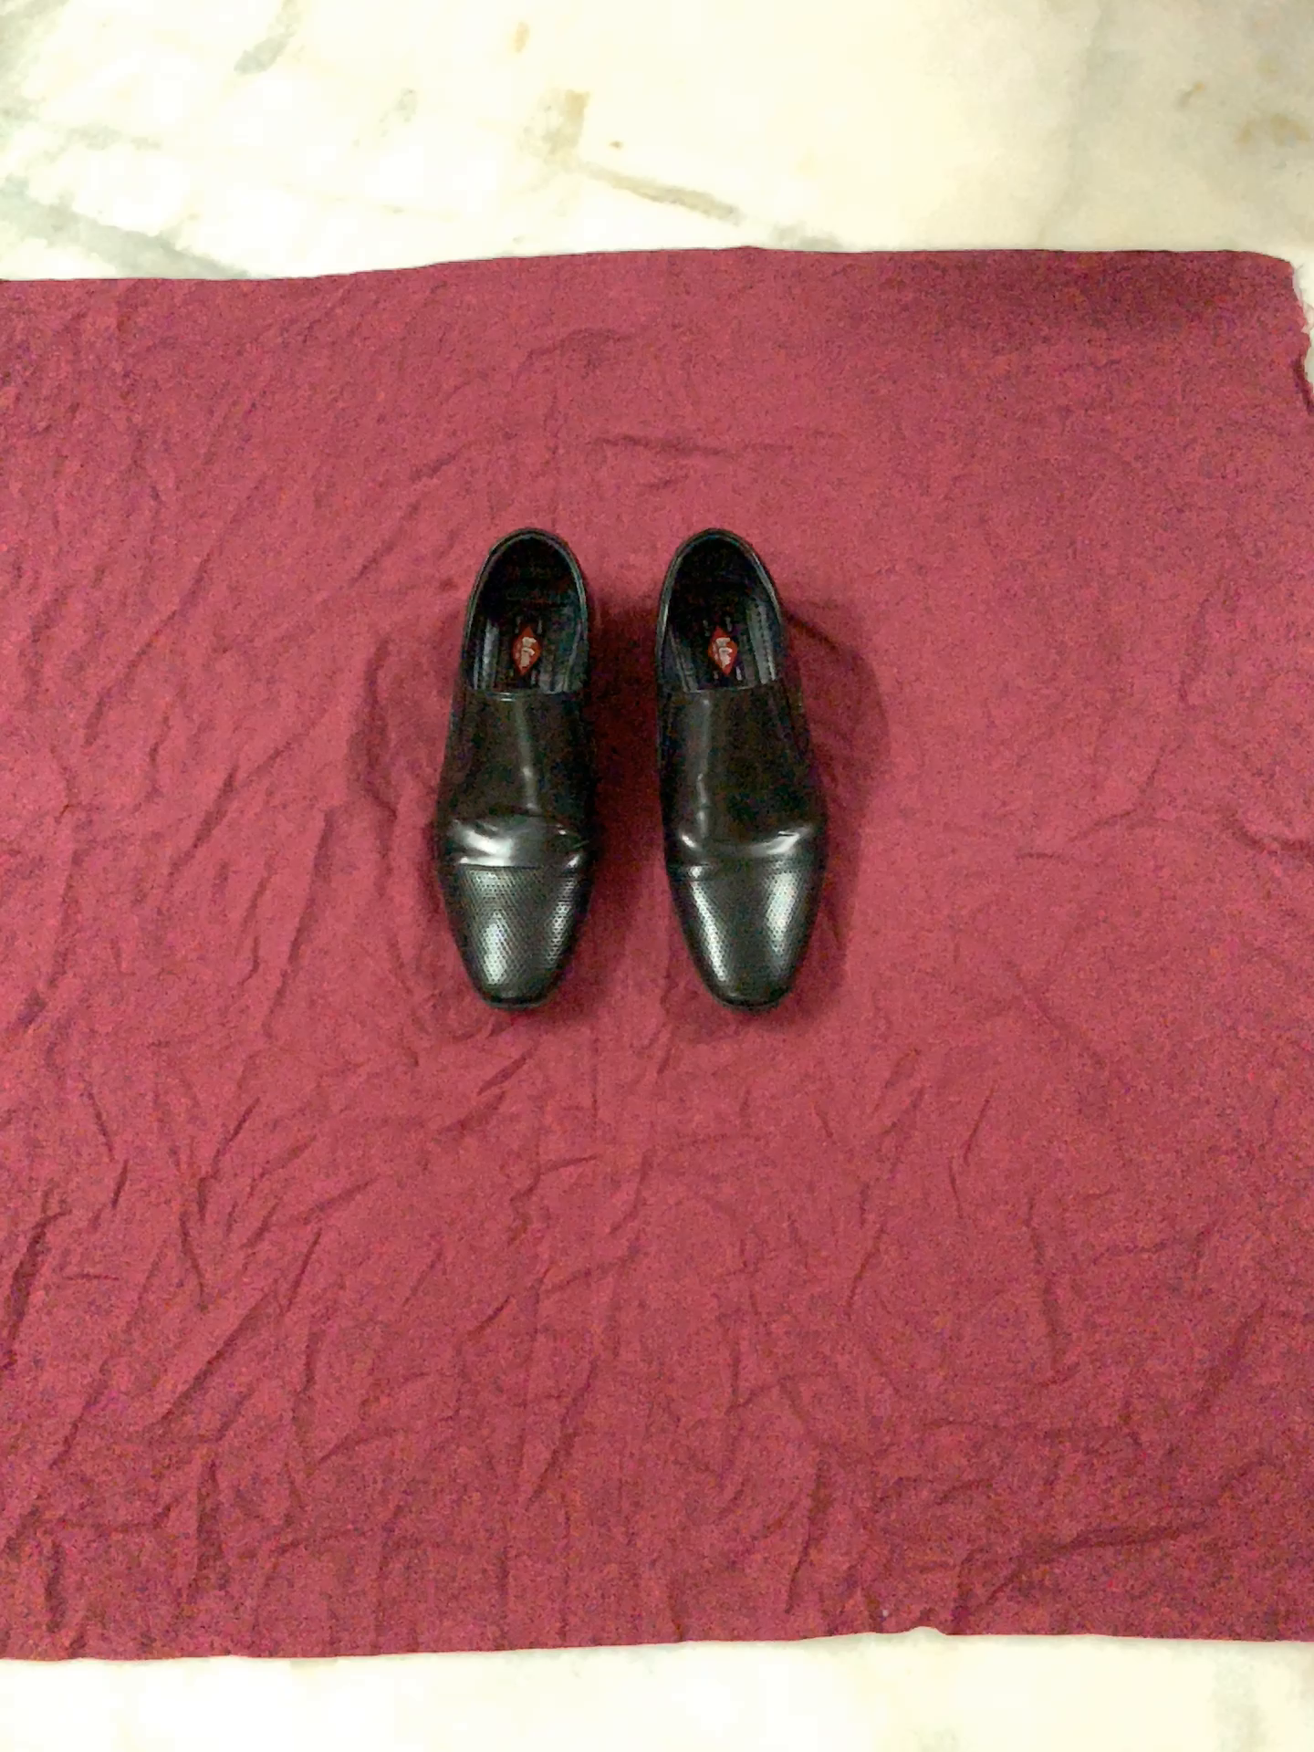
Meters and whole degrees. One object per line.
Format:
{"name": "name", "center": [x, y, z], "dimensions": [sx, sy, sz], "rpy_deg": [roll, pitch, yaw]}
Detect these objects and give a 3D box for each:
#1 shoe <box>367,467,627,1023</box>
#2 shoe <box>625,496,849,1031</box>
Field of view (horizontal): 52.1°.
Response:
{"name": "shoe", "center": [-0.082, -0.078, 0.770], "dimensions": [0.100, 0.100, 0.301], "rpy_deg": [3, 68, 3]}
{"name": "shoe", "center": [0.041, -0.067, 0.781], "dimensions": [0.100, 0.100, 0.291], "rpy_deg": [-4, 68, 0]}
